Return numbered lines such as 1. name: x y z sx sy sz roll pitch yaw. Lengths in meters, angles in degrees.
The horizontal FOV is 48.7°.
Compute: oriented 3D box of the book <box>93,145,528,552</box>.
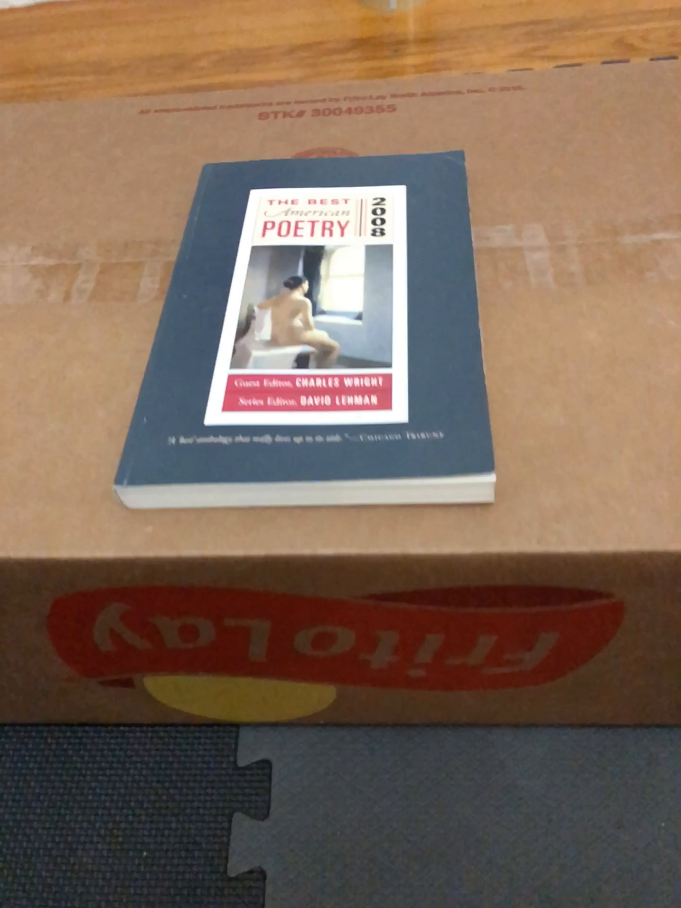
1. book: -0.008 -0.063 0.337 0.150 0.020 0.231 -2 51 5
